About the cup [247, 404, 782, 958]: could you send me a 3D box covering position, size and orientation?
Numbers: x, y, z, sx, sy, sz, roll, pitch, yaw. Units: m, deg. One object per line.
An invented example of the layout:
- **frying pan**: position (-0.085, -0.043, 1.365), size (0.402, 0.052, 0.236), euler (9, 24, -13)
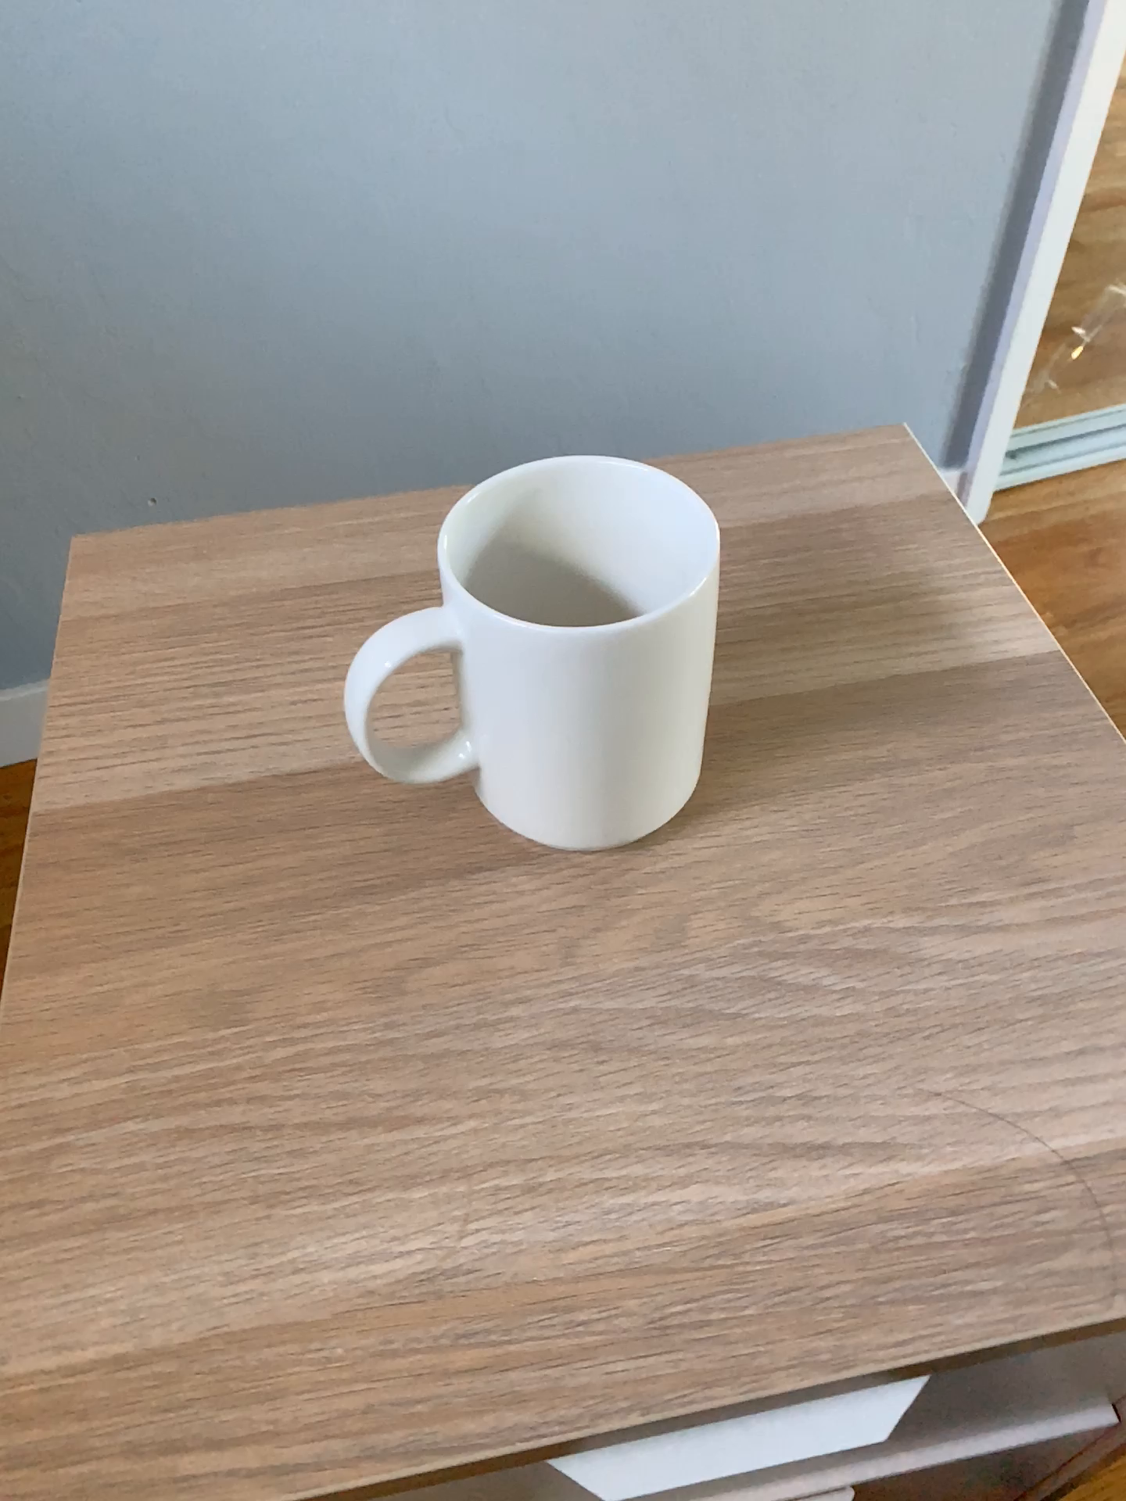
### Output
- **cup**: position (-0.014, -0.023, 0.398), size (0.140, 0.129, 0.082), euler (-22, 51, -17)

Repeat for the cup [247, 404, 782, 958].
- **cup**: position (-0.014, -0.023, 0.398), size (0.140, 0.129, 0.082), euler (-22, 51, -17)
